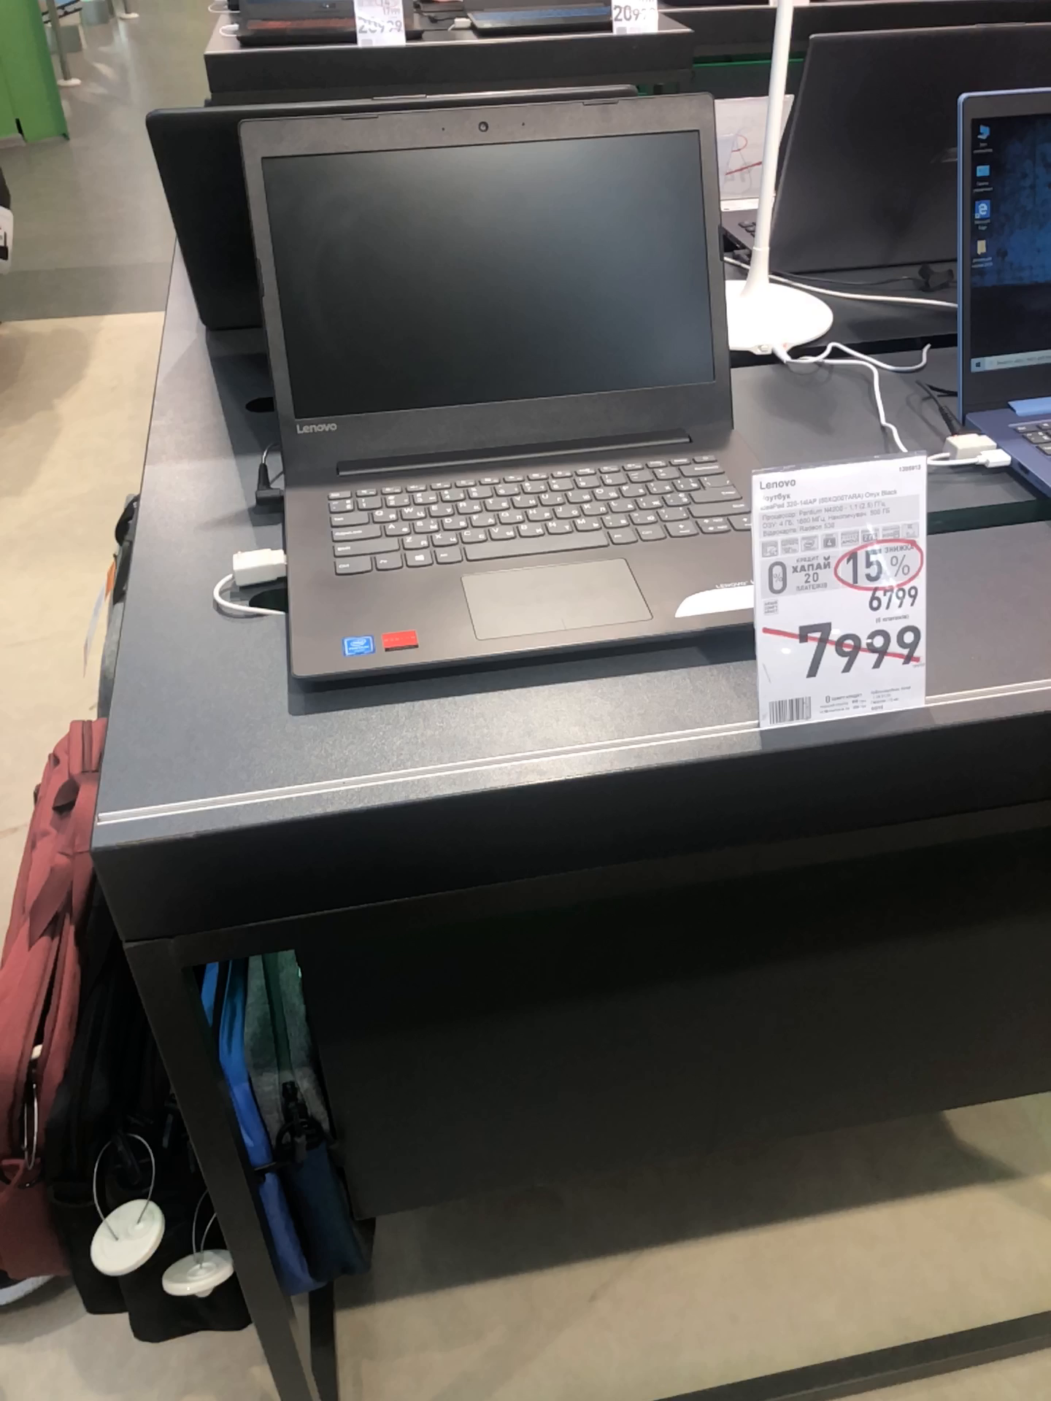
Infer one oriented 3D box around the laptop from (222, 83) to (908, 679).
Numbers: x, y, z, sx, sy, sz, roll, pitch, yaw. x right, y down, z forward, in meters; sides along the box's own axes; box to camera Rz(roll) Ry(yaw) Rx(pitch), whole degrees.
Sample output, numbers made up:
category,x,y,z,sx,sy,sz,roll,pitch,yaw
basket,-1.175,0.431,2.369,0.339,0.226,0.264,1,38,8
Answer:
category,x,y,z,sx,sy,sz,roll,pitch,yaw
laptop,-0.006,-0.230,0.742,0.330,0.205,0.363,-7,40,-8
